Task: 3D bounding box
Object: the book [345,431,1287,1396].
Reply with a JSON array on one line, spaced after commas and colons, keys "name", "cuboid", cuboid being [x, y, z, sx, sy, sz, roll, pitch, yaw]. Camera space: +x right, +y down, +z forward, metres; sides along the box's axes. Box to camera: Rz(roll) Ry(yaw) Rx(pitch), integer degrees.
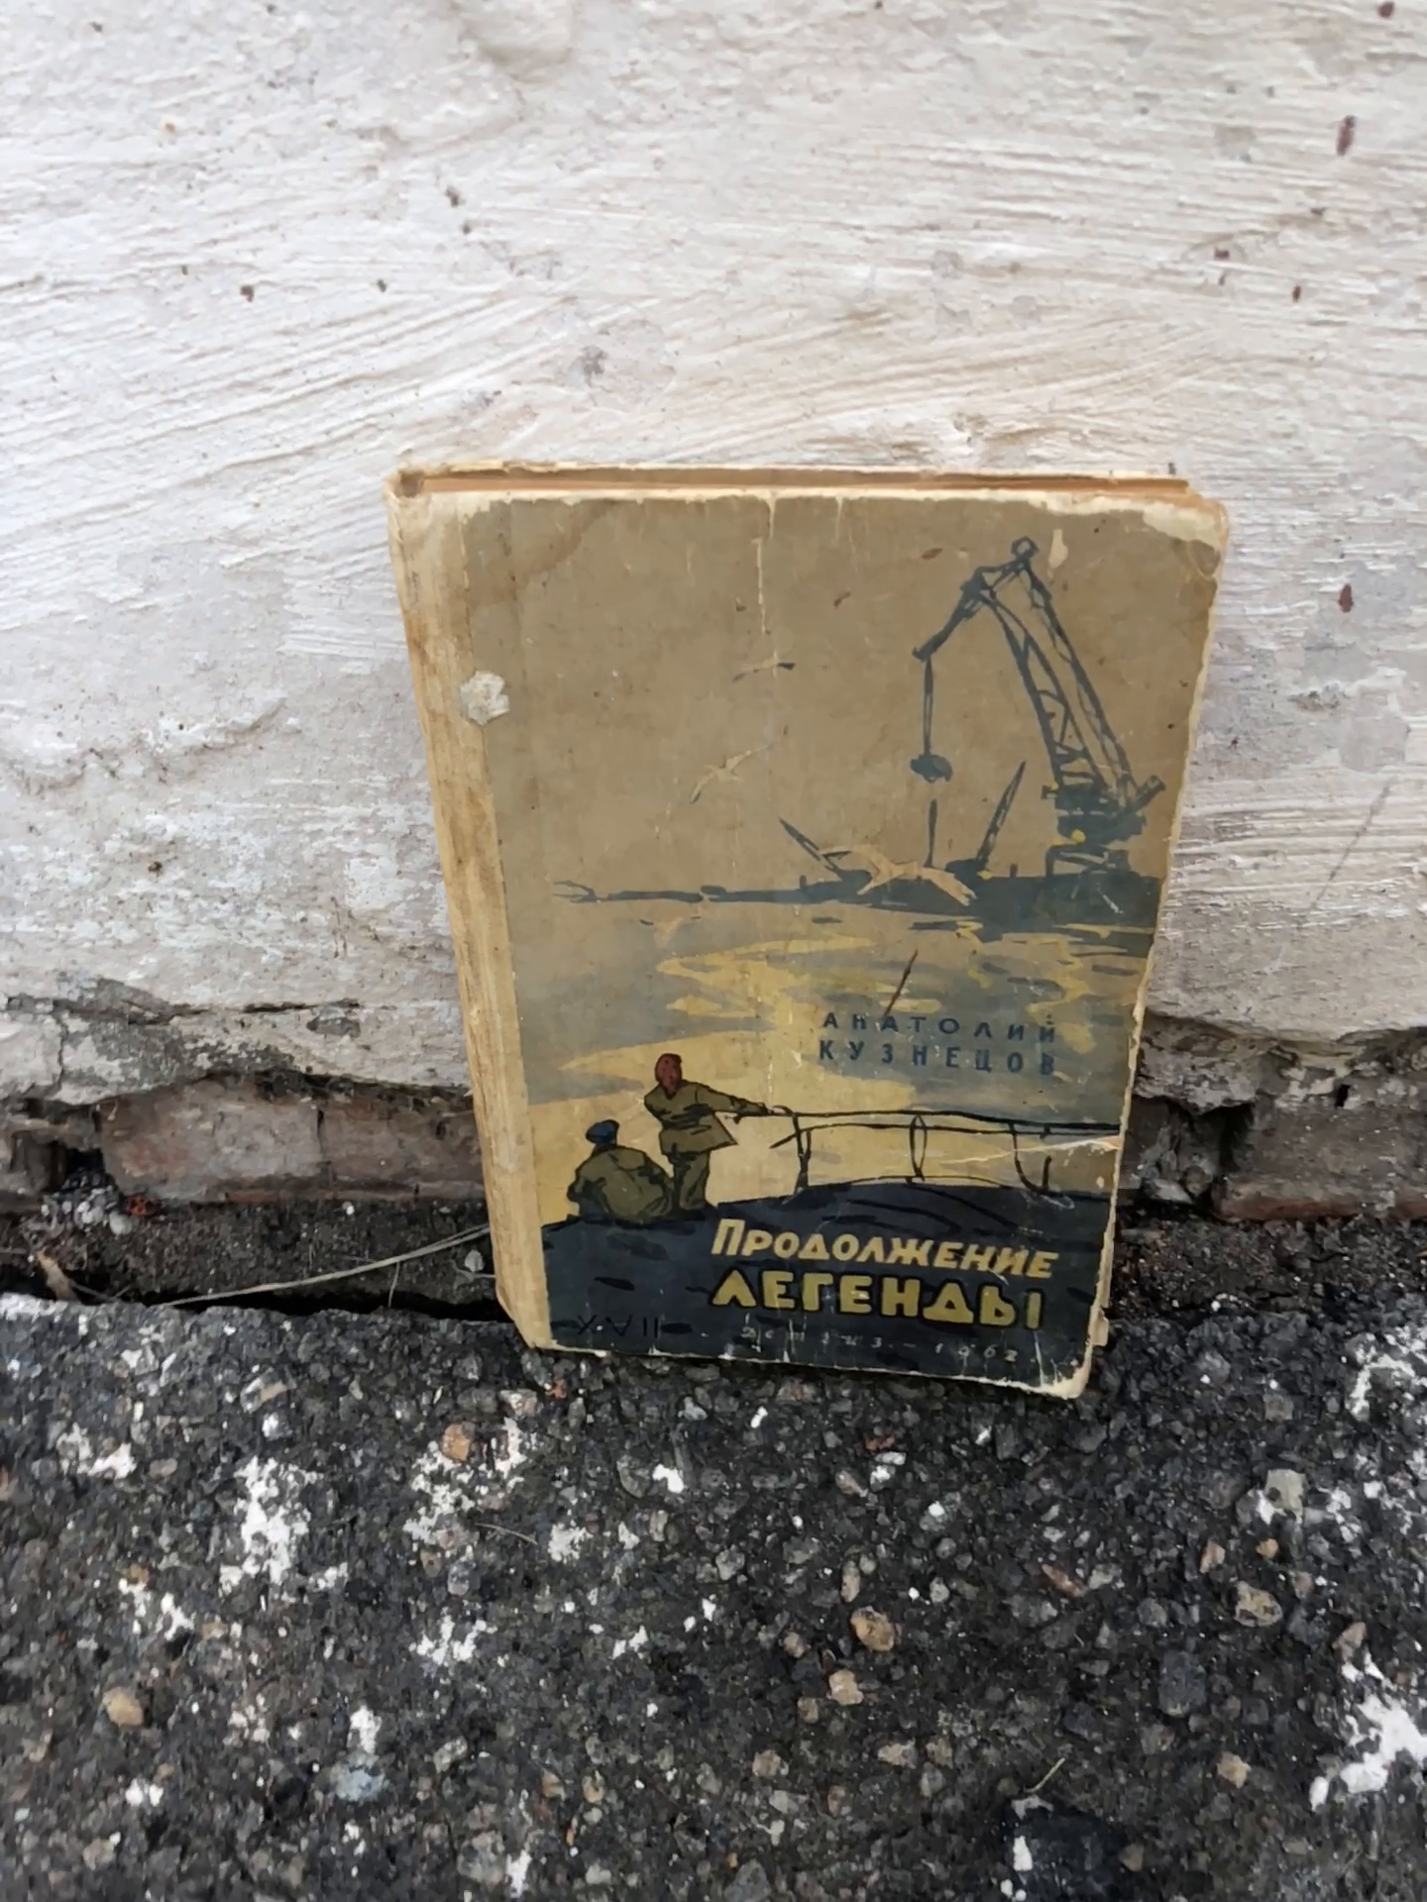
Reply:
[{"name": "book", "cuboid": [0.015, 0.003, 0.289, 0.136, 0.181, 0.030, 2, 32, 3]}]
